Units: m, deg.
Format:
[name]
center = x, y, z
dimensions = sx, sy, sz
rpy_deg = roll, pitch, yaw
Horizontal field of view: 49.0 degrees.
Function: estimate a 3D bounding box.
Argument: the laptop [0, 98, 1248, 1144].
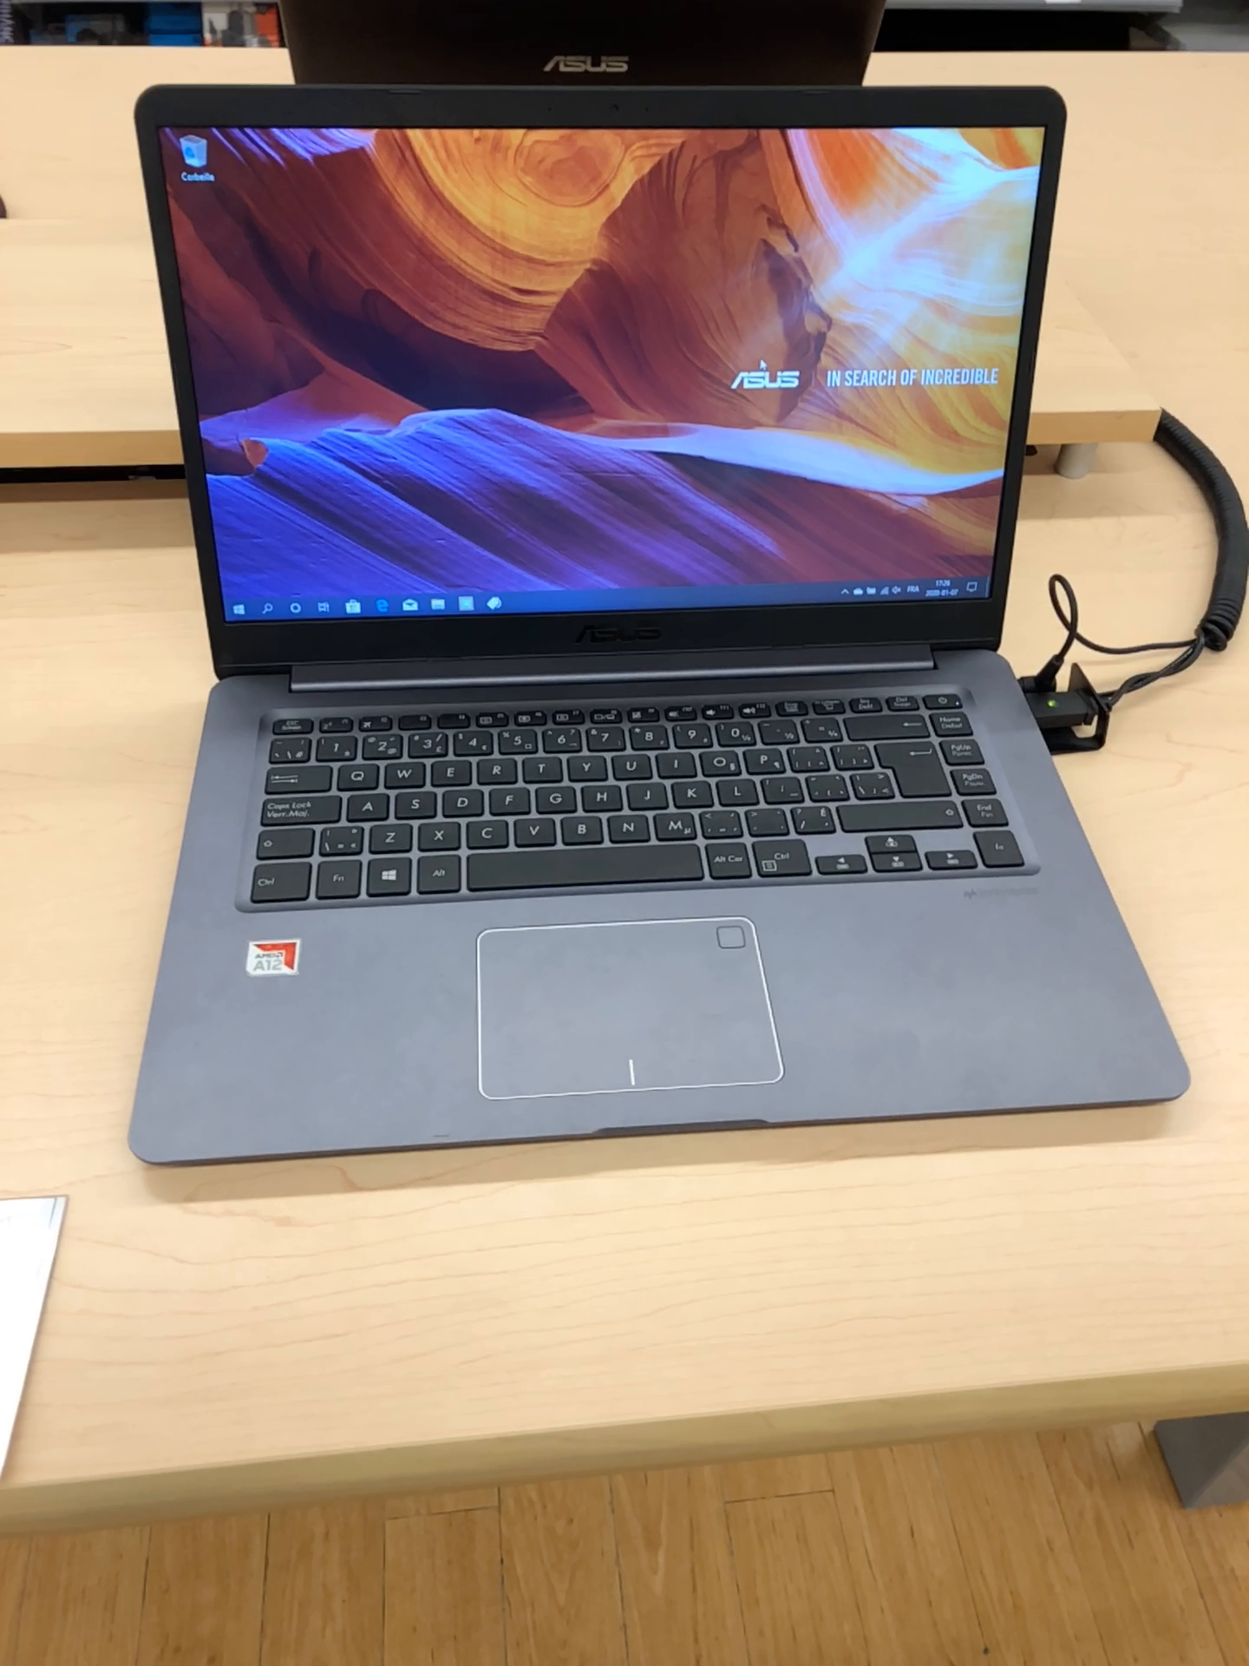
[laptop]
center = 0.006, -0.095, 0.506
dimensions = 0.361, 0.223, 0.319
rpy_deg = -3, 46, -5
